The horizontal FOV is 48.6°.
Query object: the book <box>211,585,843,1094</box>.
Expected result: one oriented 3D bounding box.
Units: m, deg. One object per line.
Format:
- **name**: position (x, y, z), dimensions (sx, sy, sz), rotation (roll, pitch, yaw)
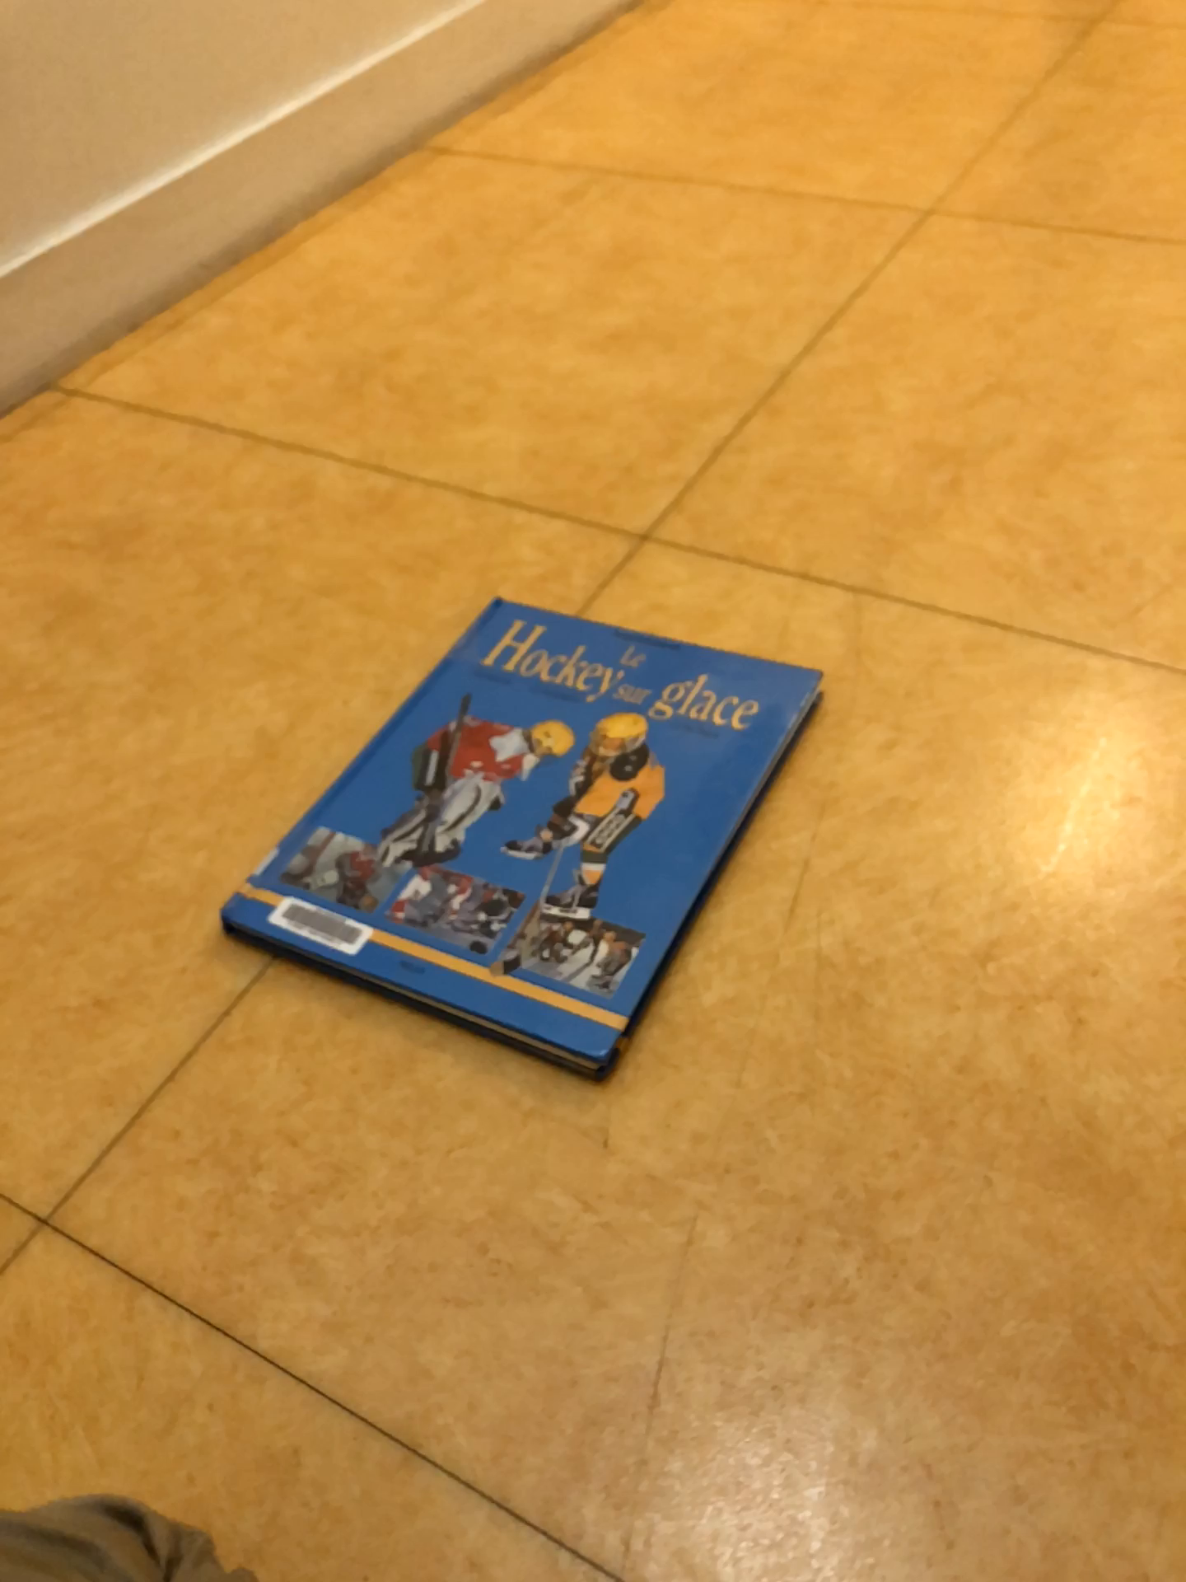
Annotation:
- **book**: position (-0.022, 0.002, 0.647), dimensions (0.210, 0.020, 0.261), rotation (17, 50, 22)
